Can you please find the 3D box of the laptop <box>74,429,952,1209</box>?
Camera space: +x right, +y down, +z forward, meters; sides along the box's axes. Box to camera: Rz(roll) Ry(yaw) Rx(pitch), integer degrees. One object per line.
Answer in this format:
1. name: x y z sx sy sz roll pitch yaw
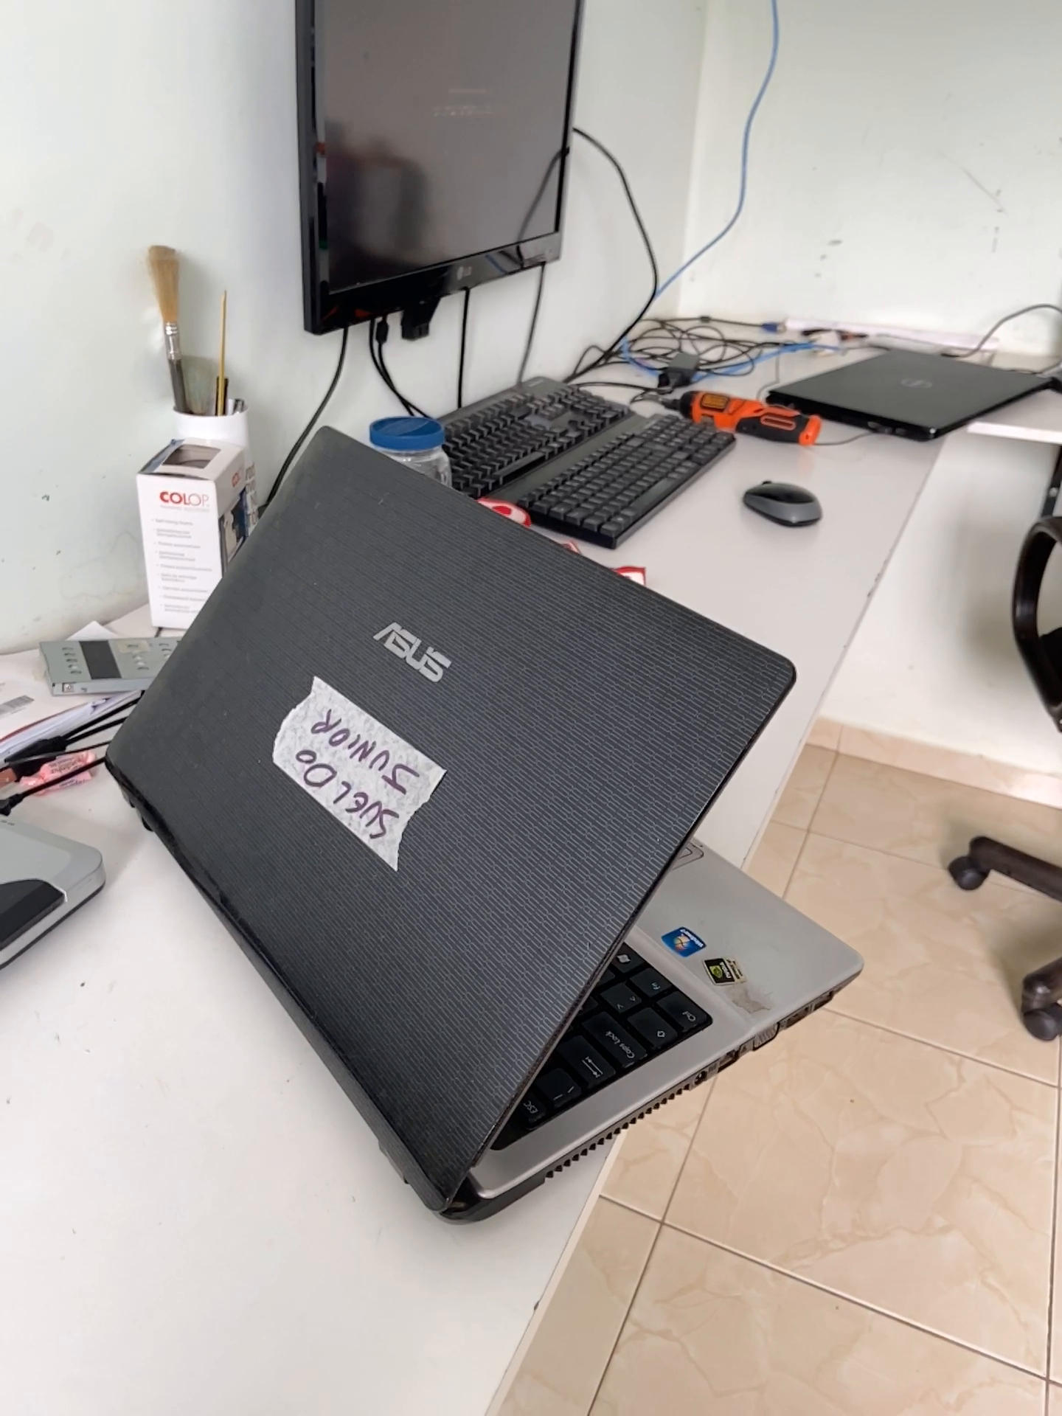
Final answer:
1. laptop: -0.036 0.001 0.563 0.247 0.182 0.377 -18 34 -33
